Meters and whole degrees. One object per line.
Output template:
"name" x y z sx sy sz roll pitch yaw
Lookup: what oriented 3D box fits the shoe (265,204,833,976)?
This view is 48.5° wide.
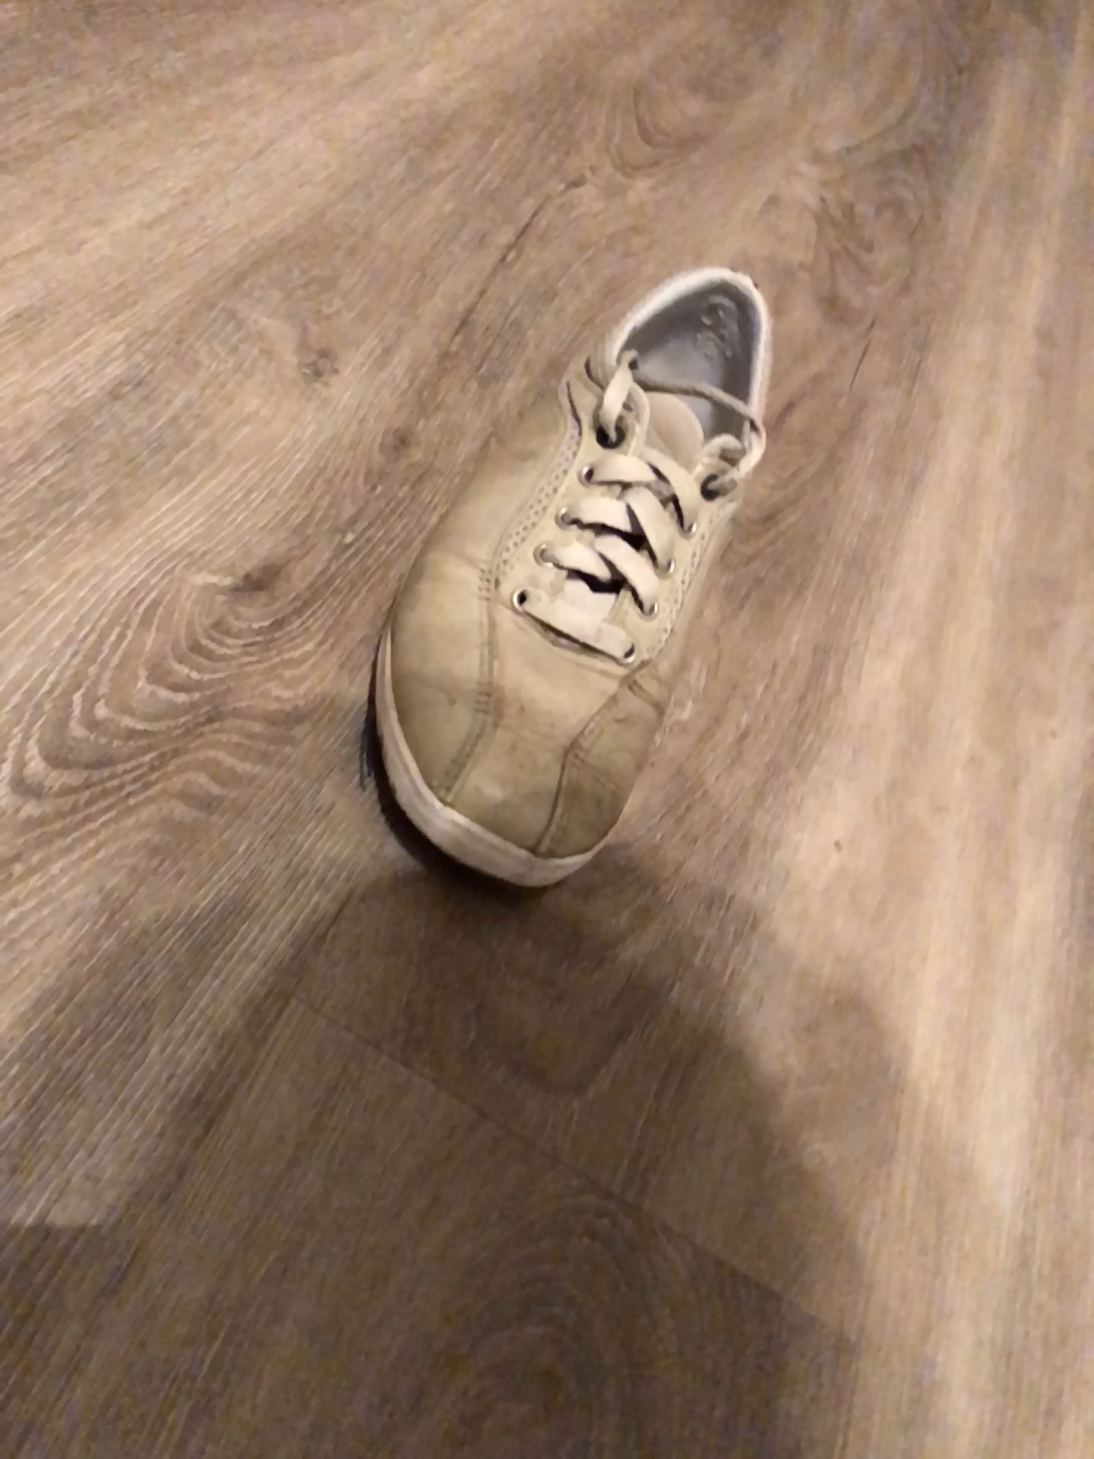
"shoe" 0.016 -0.060 0.383 0.090 0.070 0.251 31 47 -10
